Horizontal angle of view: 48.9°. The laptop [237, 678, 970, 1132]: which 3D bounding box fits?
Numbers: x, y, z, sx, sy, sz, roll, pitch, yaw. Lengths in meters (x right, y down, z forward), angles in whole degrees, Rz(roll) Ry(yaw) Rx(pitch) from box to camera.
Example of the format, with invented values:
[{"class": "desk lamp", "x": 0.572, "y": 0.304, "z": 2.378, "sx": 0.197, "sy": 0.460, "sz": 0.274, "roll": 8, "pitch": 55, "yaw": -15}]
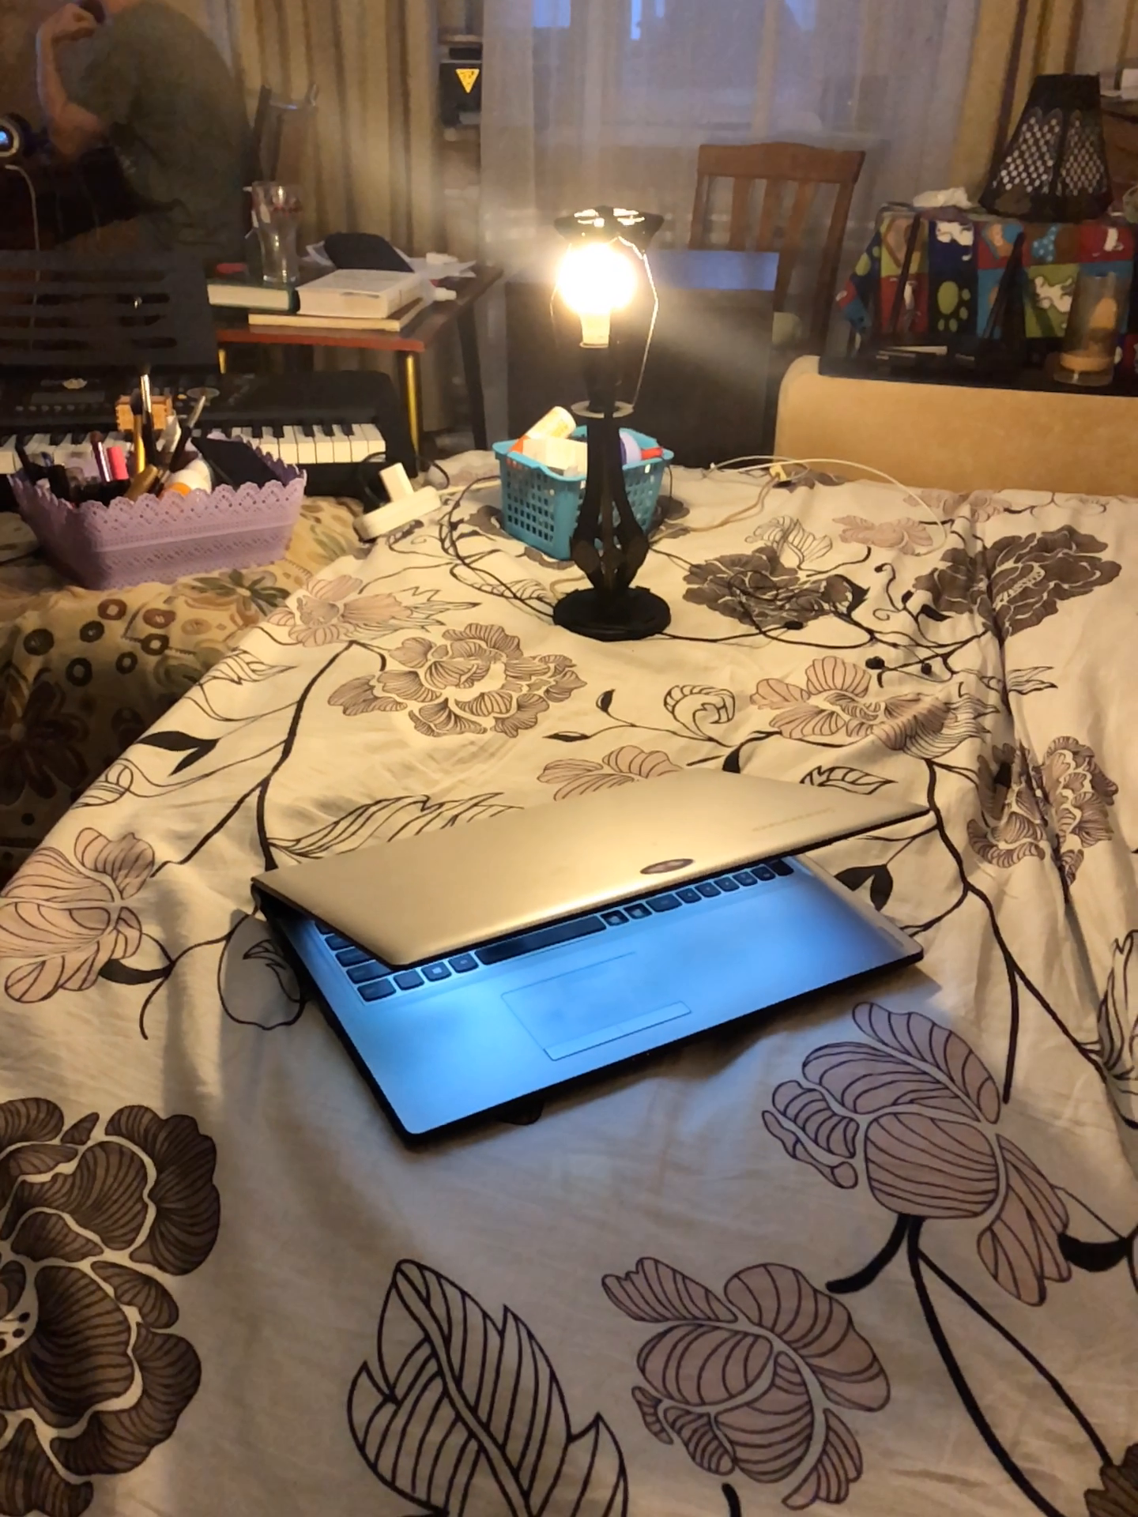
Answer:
[{"class": "laptop", "x": 0.017, "y": 0.067, "z": 0.819, "sx": 0.381, "sy": 0.082, "sz": 0.256, "roll": -14, "pitch": 32, "yaw": -26}]
